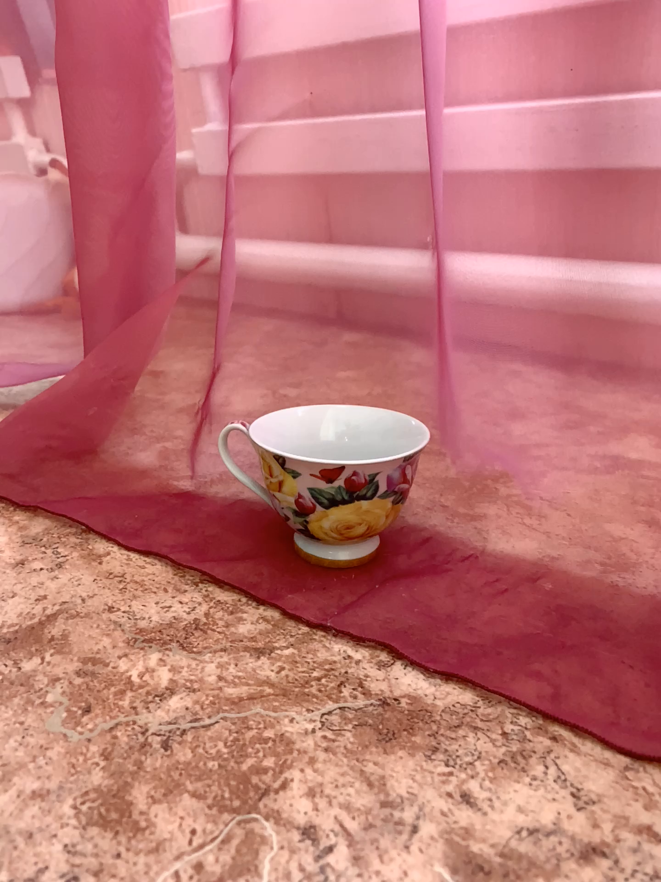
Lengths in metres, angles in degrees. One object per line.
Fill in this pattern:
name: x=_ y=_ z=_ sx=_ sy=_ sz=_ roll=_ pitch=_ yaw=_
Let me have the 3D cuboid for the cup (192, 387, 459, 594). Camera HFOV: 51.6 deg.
cup: x=-0.002 y=0.018 z=0.350 sx=0.109 sy=0.061 sz=0.078 roll=12 pitch=21 yaw=27
